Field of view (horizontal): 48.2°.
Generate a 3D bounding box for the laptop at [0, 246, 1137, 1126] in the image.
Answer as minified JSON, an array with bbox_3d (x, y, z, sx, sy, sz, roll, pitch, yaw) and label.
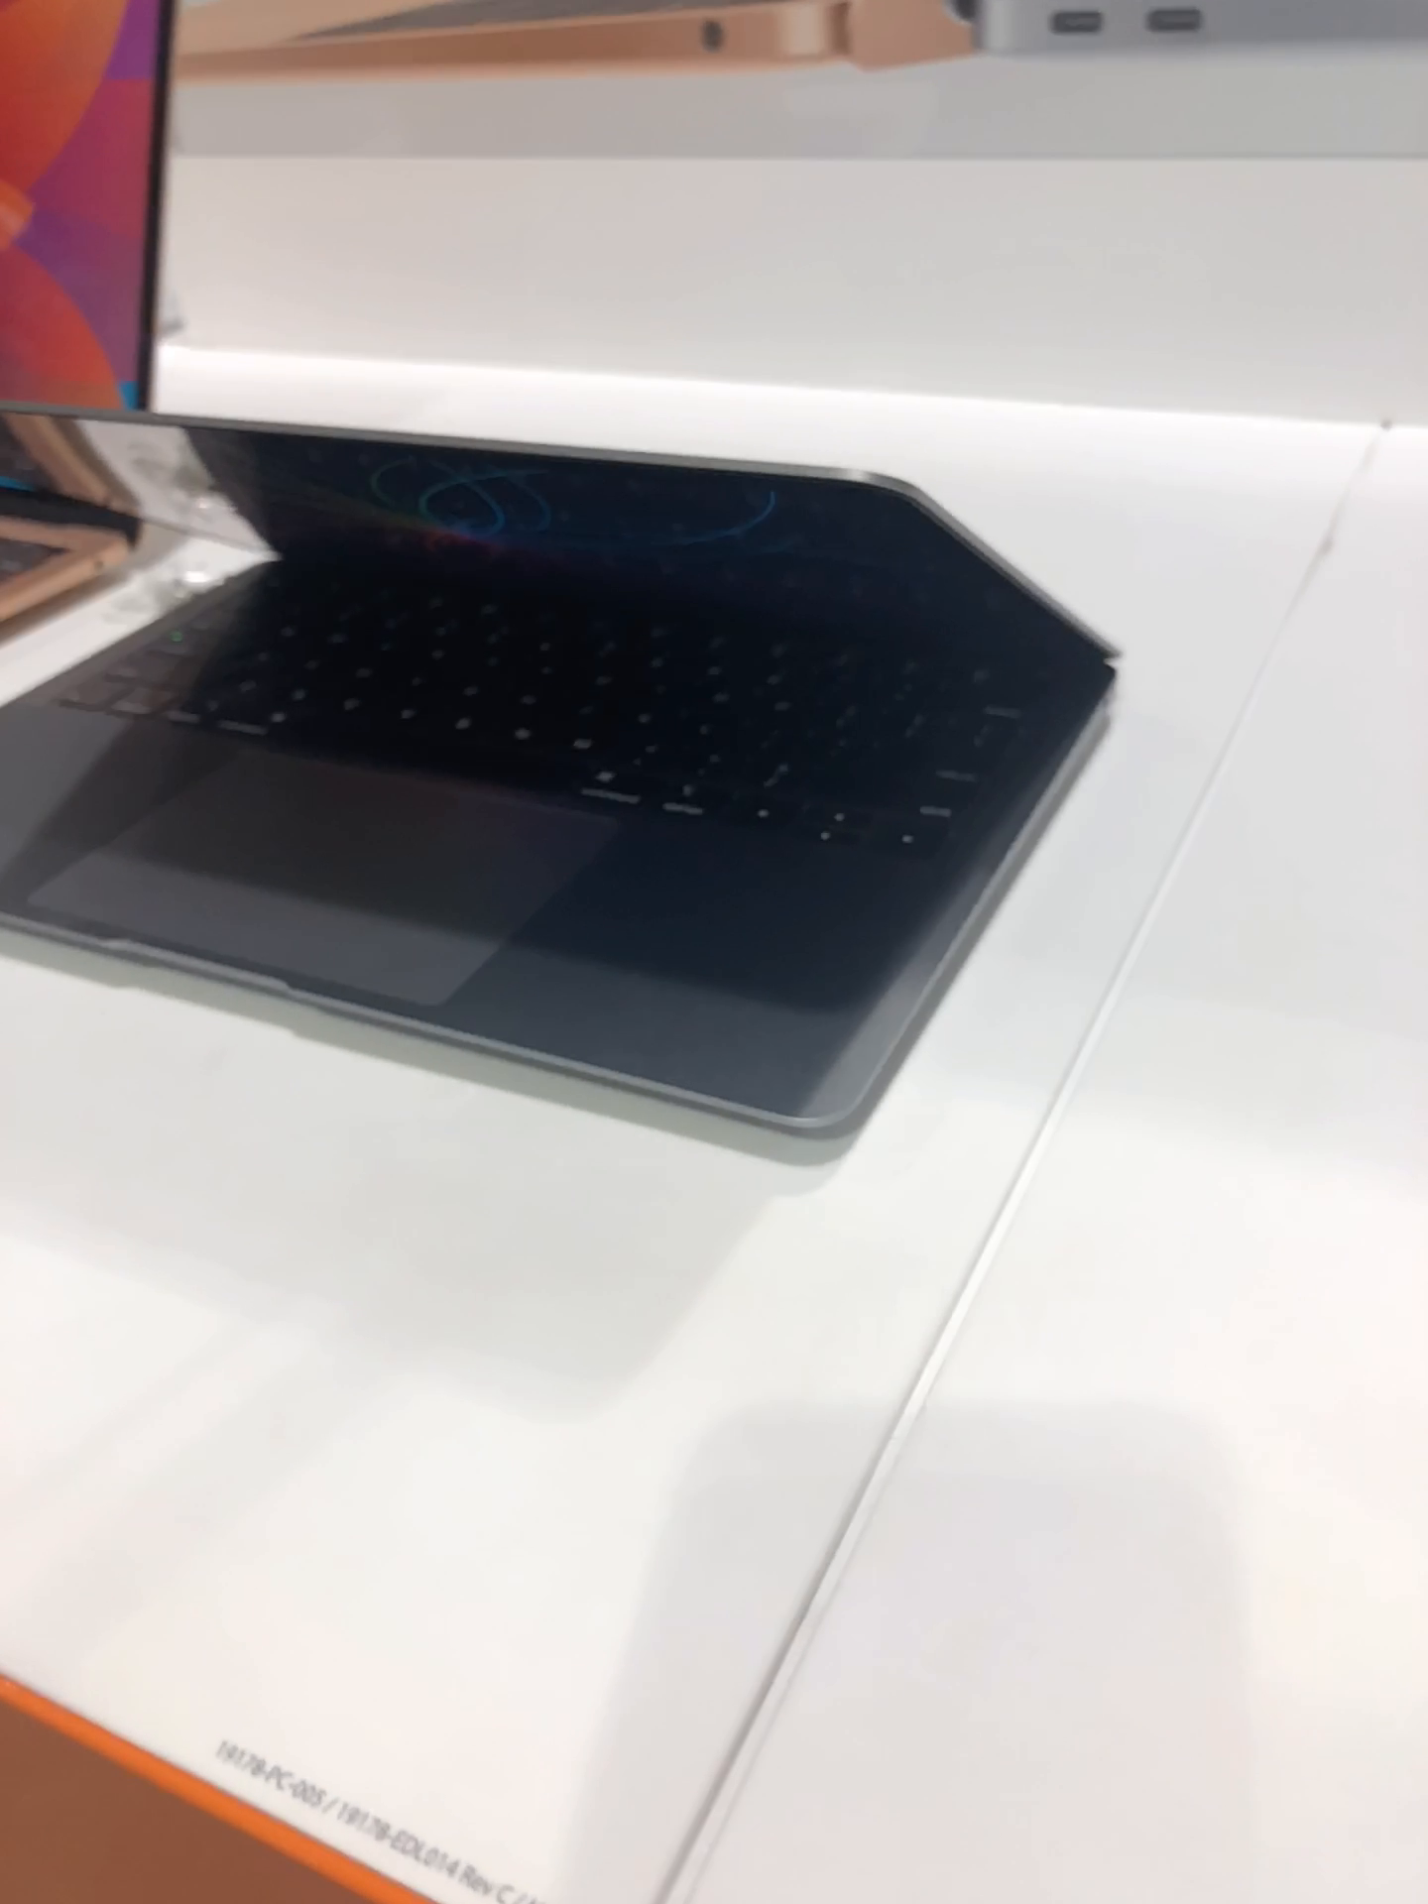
[{"bbox_3d":[-0.069,-0.094,0.394,0.289,0.102,0.199,13,38,23],"label":"laptop"}]
